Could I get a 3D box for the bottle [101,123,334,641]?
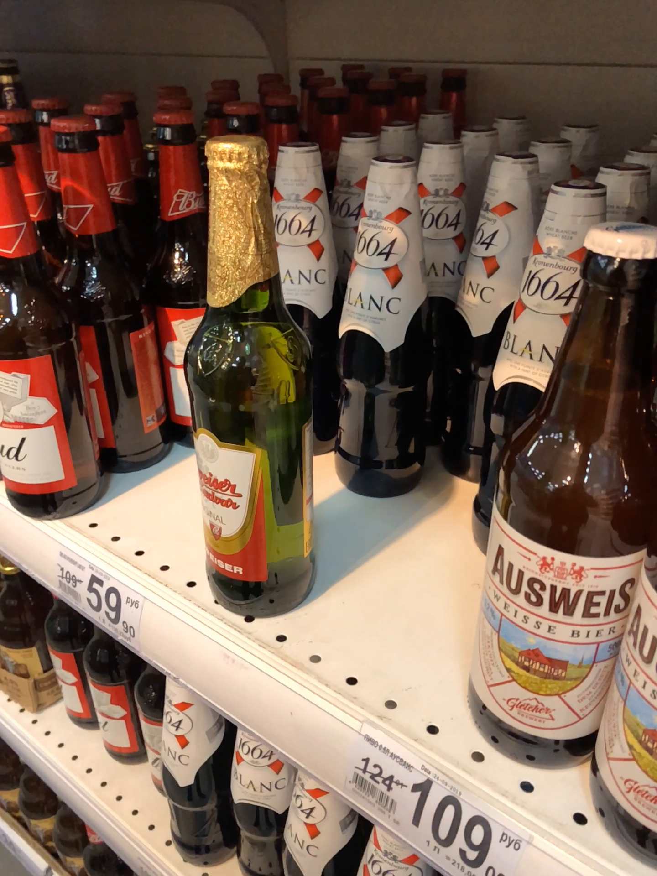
[{"bbox_3d":[-0.051,-0.024,0.387,0.070,0.254,0.080,-20,35,-30],"label":"bottle"}]
